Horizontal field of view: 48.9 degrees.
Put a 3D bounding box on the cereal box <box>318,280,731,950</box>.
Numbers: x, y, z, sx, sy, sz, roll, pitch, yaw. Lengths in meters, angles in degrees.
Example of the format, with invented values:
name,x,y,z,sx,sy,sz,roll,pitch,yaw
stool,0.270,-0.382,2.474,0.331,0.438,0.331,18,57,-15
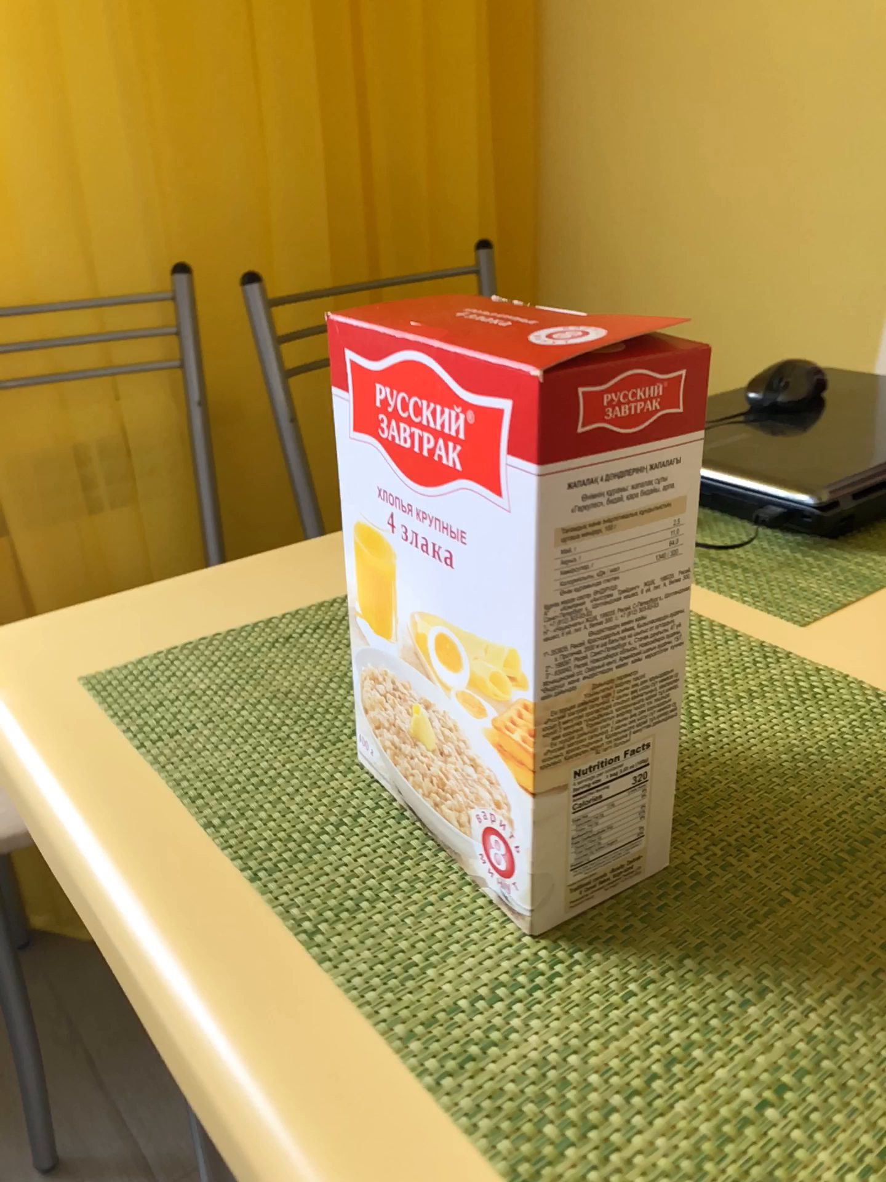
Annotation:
name,x,y,z,sx,sy,sz,roll,pitch,yaw
cereal box,0.022,-0.001,0.355,0.070,0.199,0.131,-16,28,-28
